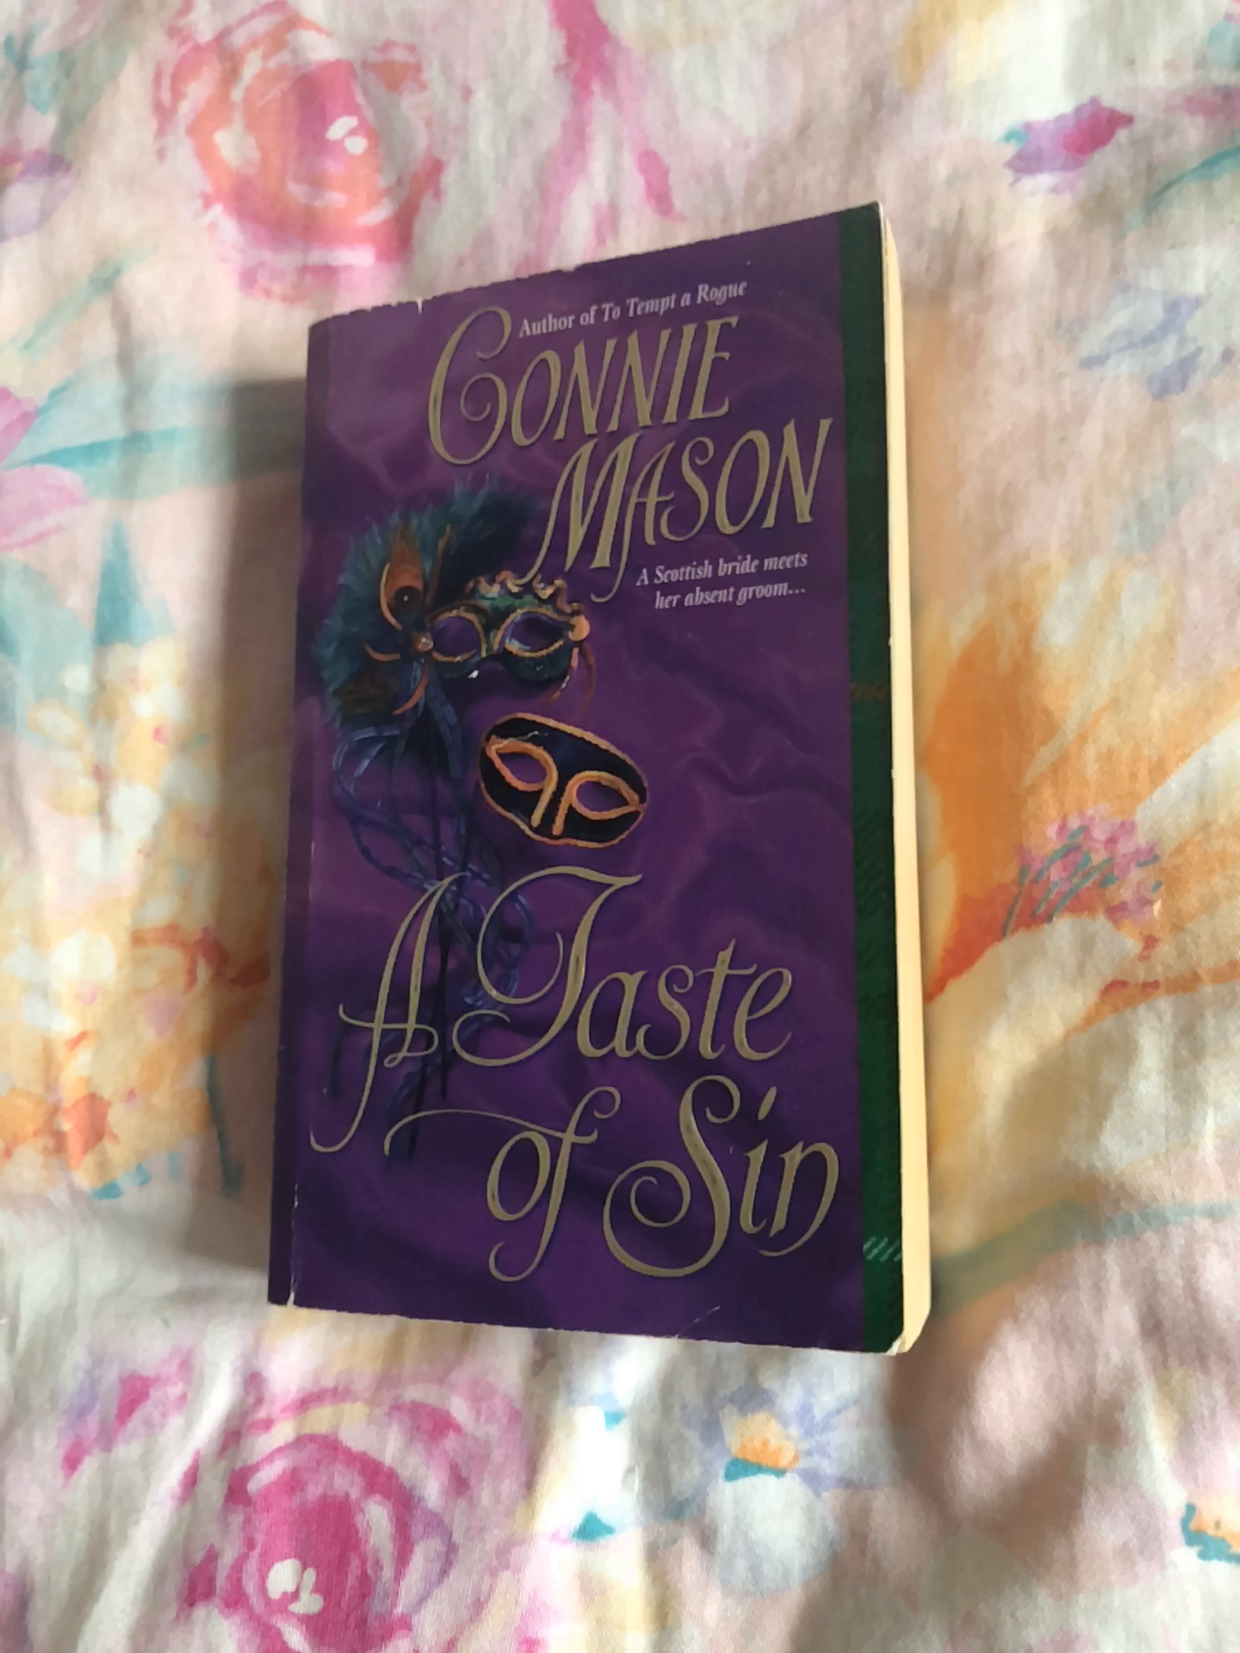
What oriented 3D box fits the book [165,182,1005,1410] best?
[{"bbox_3d":[-0.005,-0.006,0.230,0.120,0.040,0.180,-3,77,13],"label":"book"}]
